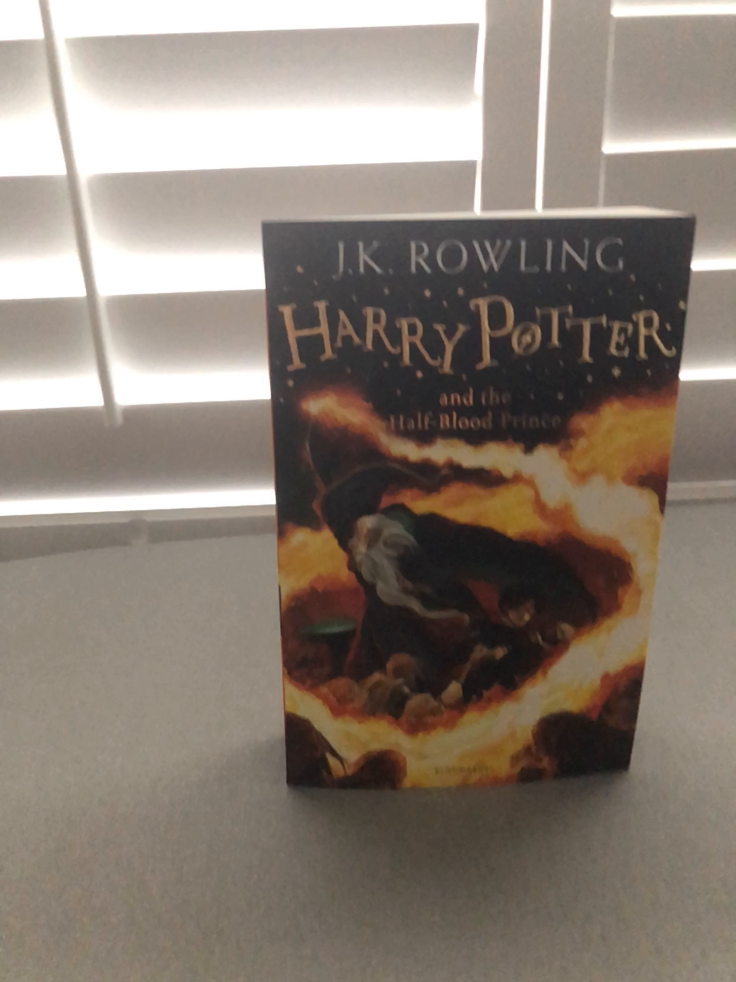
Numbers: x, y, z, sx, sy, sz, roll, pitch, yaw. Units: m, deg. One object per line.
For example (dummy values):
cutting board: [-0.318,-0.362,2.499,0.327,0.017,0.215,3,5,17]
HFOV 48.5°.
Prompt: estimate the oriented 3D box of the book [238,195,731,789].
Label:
book: [0.037,0.003,0.285,0.141,0.194,0.047,-2,17,-1]
